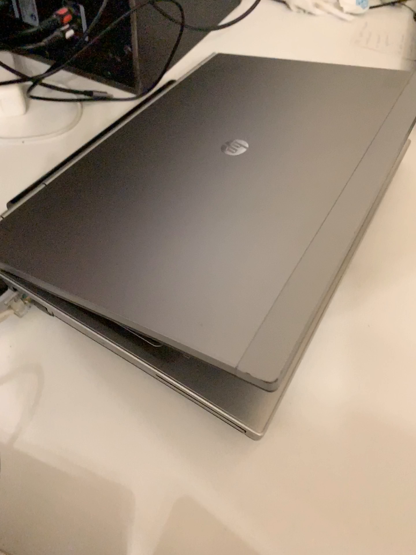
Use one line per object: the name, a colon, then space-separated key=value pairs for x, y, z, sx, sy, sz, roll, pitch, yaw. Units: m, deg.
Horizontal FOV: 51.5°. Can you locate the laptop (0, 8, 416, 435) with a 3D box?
laptop: x=0.016 y=-0.084 z=0.308 sx=0.200 sy=0.042 sz=0.305 roll=29 pitch=55 yaw=11
